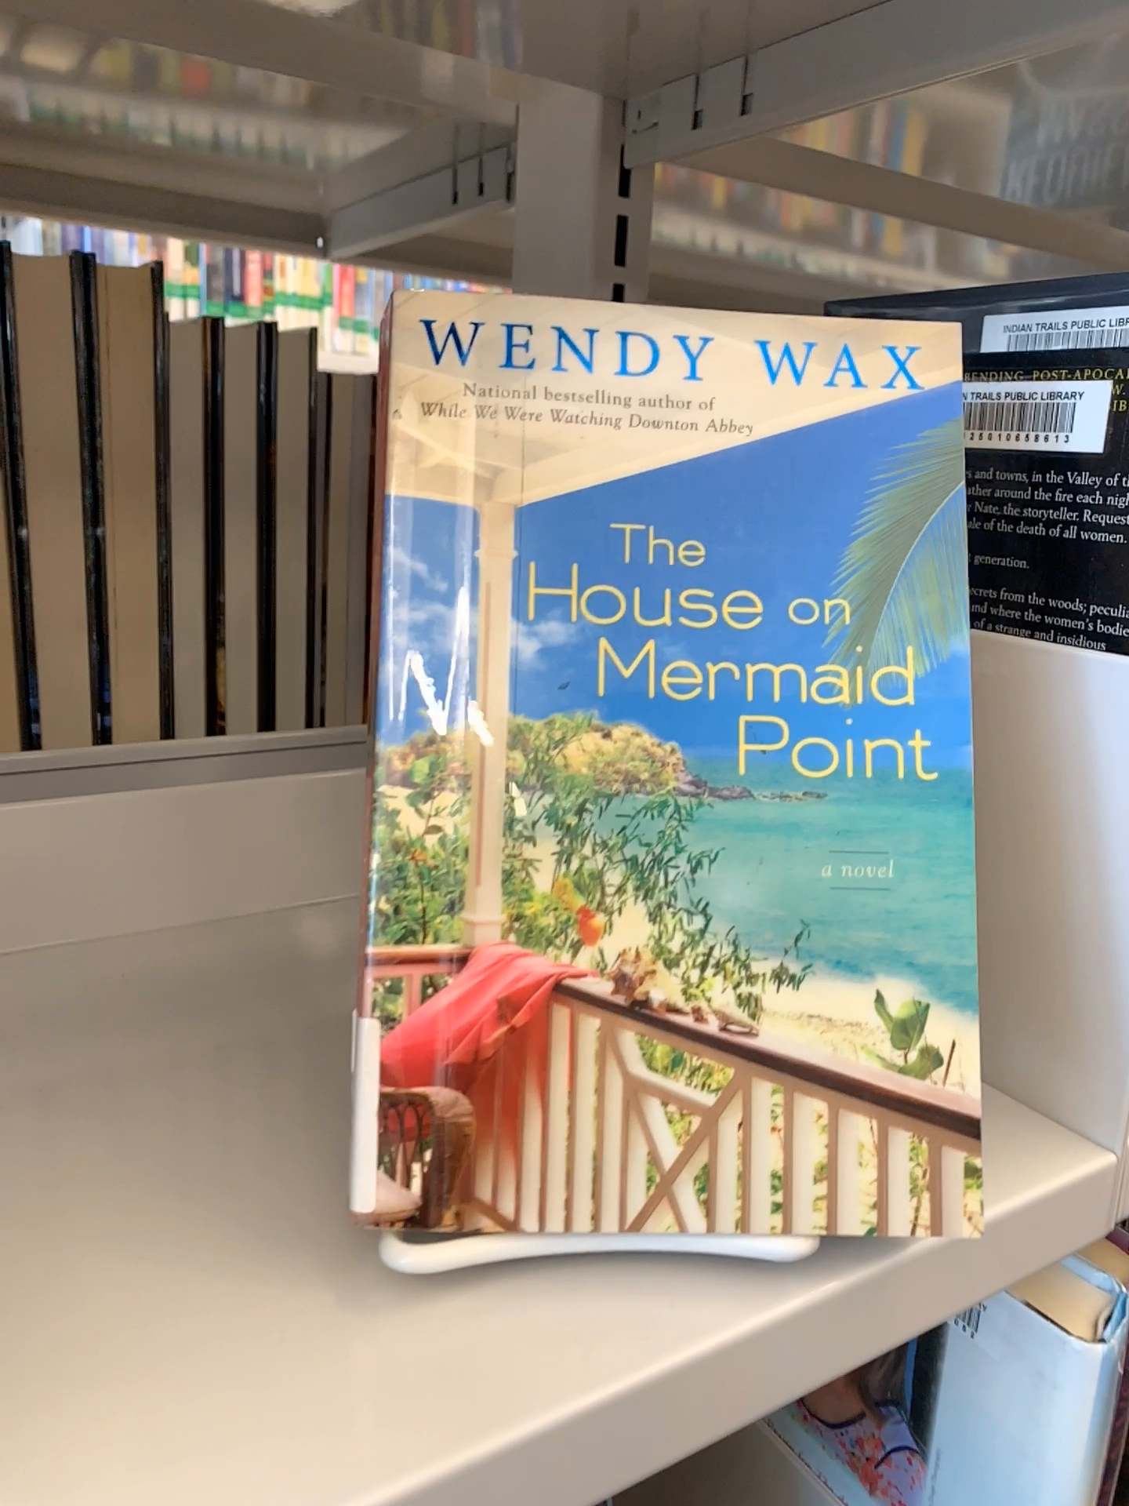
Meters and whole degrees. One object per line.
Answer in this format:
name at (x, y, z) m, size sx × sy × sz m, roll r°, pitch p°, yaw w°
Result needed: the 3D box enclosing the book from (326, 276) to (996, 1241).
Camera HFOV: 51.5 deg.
book at (0.021, 0.000, 0.259) m, size 0.131 × 0.193 × 0.043 m, roll 2°, pitch -6°, yaw -3°
